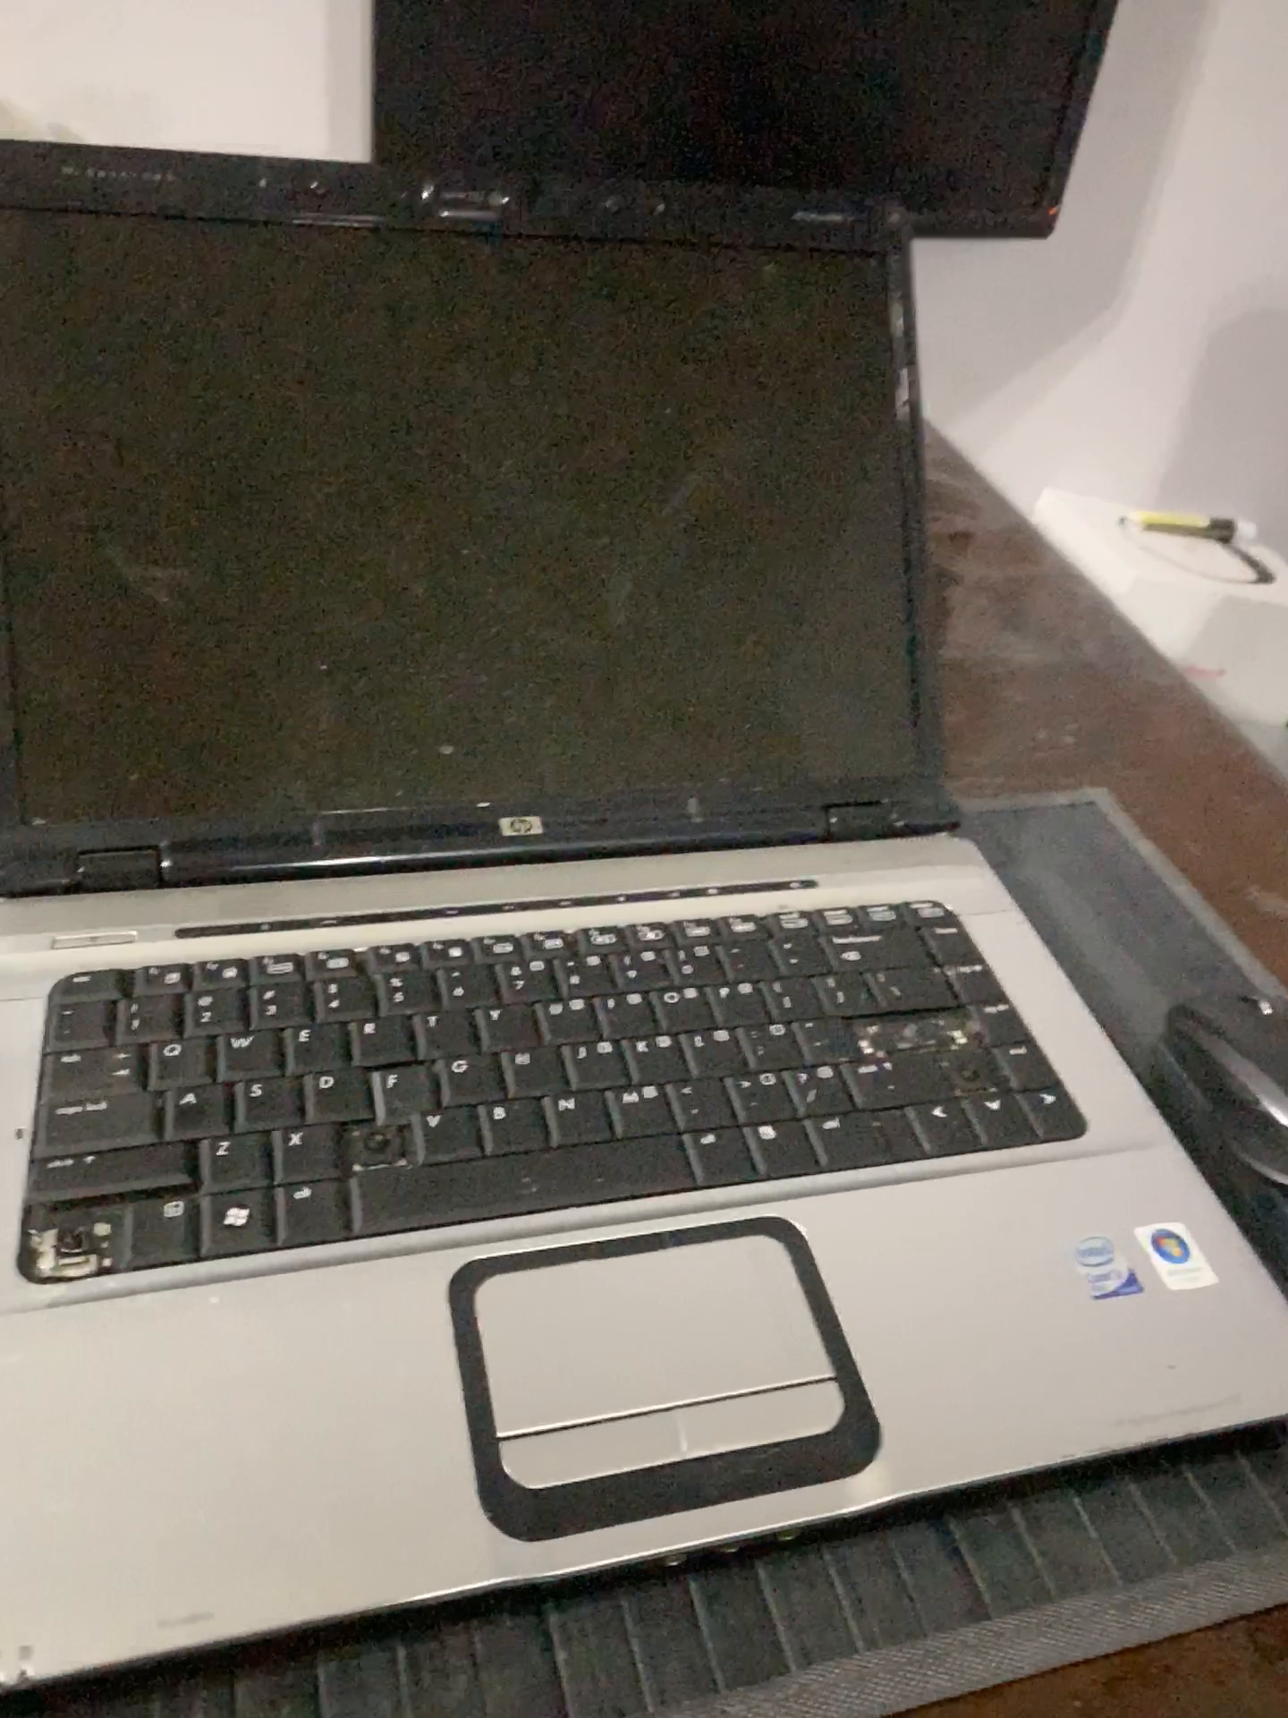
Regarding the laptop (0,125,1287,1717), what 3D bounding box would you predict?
[{"bbox_3d":[-0.028,-0.052,0.389,0.349,0.186,0.404,-4,40,-16],"label":"laptop"}]
